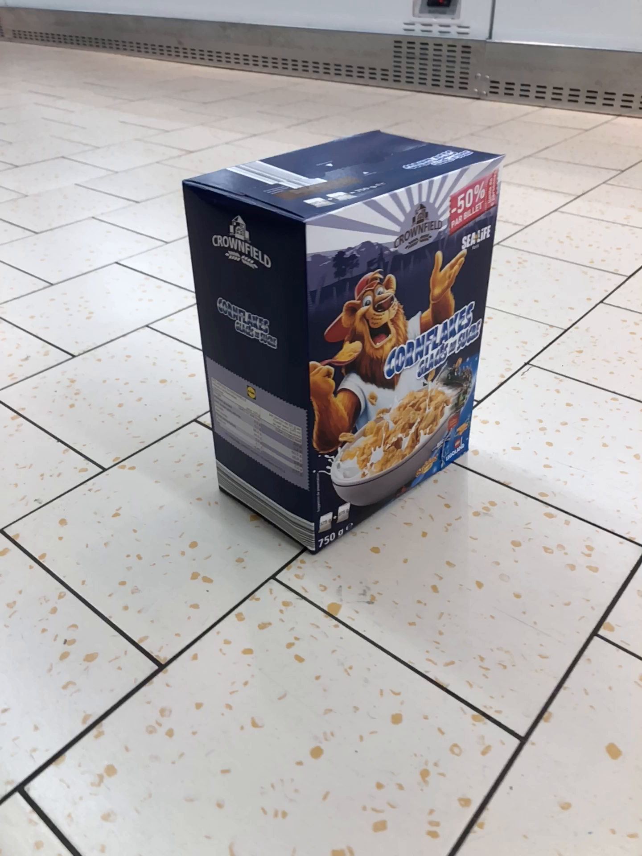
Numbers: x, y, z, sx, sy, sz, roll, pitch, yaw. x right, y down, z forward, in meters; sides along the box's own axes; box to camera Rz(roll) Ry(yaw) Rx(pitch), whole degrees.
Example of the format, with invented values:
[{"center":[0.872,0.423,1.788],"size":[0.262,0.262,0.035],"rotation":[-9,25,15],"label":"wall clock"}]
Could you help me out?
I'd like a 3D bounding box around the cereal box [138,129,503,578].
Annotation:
[{"center":[0.007,-0.066,0.540],"size":[0.211,0.258,0.130],"rotation":[-28,42,-34],"label":"cereal box"}]
